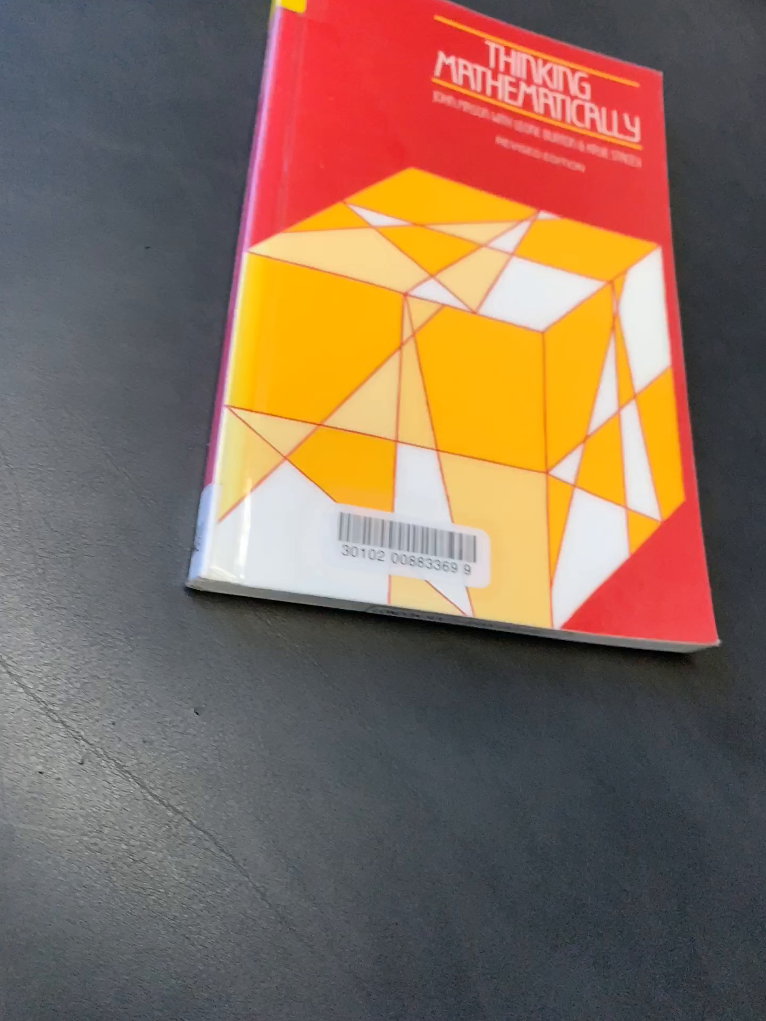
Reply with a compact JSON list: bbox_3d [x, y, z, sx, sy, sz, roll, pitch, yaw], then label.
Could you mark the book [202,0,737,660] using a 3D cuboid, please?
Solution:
[{"bbox_3d":[0.035,-0.076,0.265,0.157,0.016,0.232,10,68,-17],"label":"book"}]
